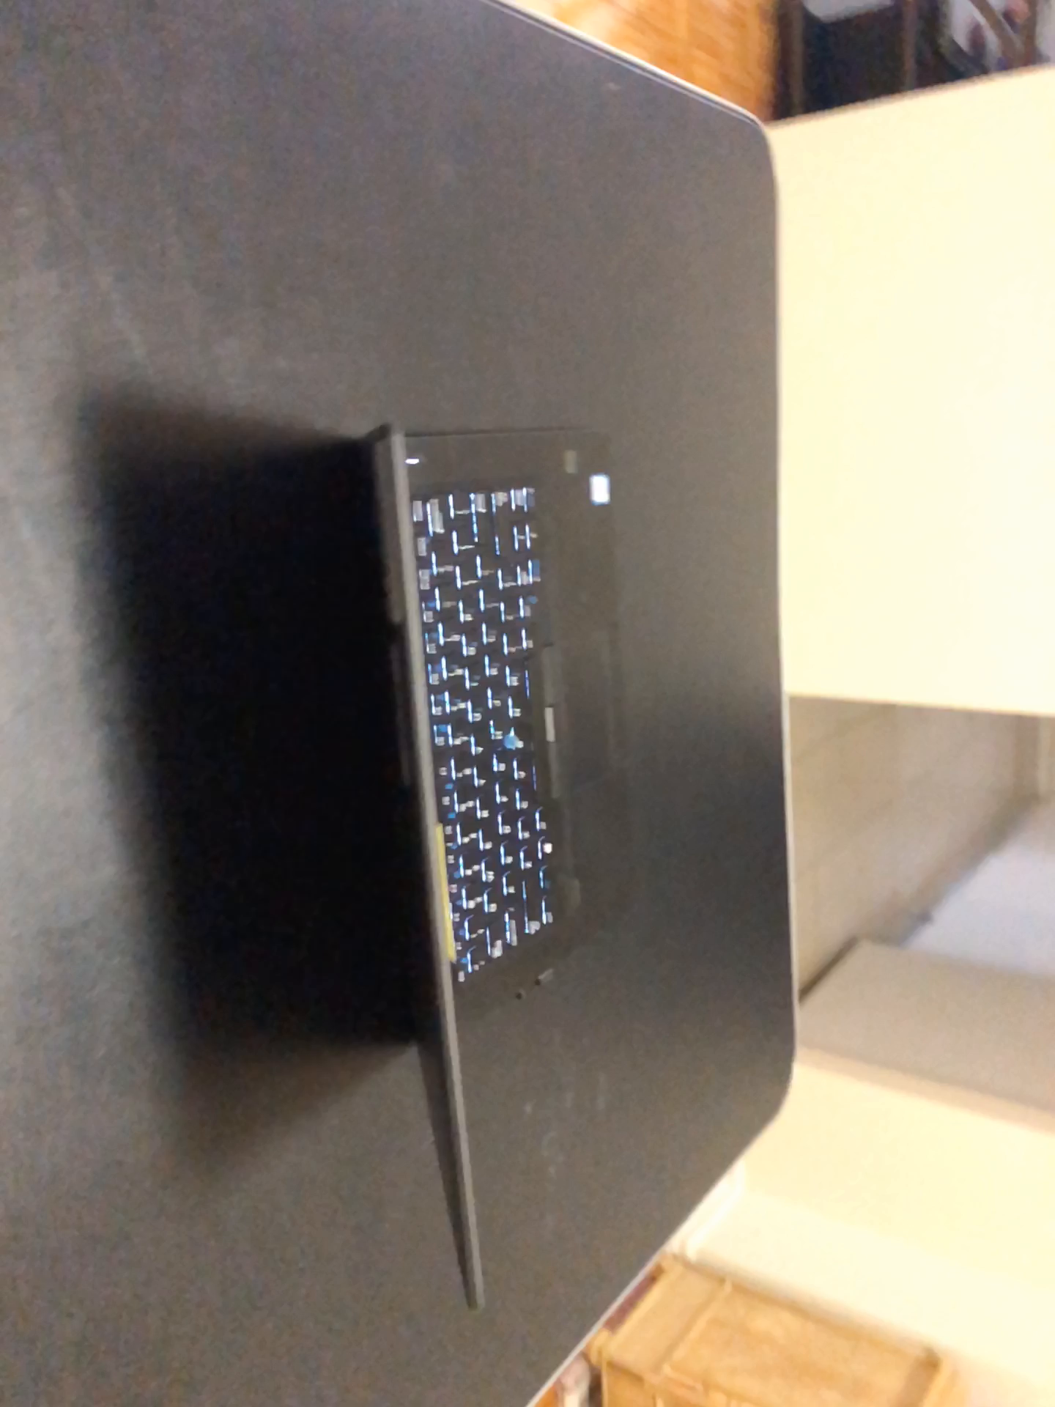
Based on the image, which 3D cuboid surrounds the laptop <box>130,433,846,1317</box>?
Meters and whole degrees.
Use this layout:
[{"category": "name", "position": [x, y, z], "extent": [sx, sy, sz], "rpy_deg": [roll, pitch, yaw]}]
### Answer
[{"category": "laptop", "position": [0.022, 0.034, 0.593], "extent": [0.369, 0.140, 0.319], "rpy_deg": [-20, 110, -51]}]
